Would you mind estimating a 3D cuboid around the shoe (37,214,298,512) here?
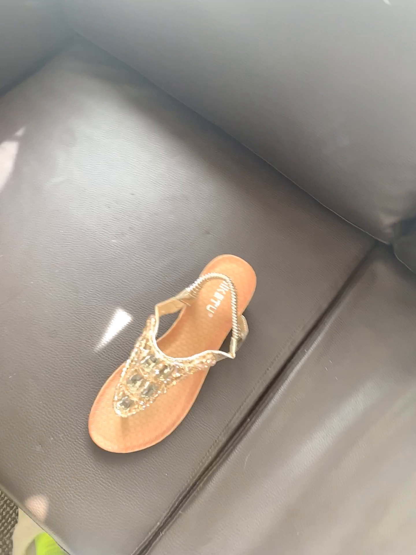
[{"bbox_3d":[-0.033,0.085,0.468,0.100,0.140,0.271,36,76,7],"label":"shoe"}]
